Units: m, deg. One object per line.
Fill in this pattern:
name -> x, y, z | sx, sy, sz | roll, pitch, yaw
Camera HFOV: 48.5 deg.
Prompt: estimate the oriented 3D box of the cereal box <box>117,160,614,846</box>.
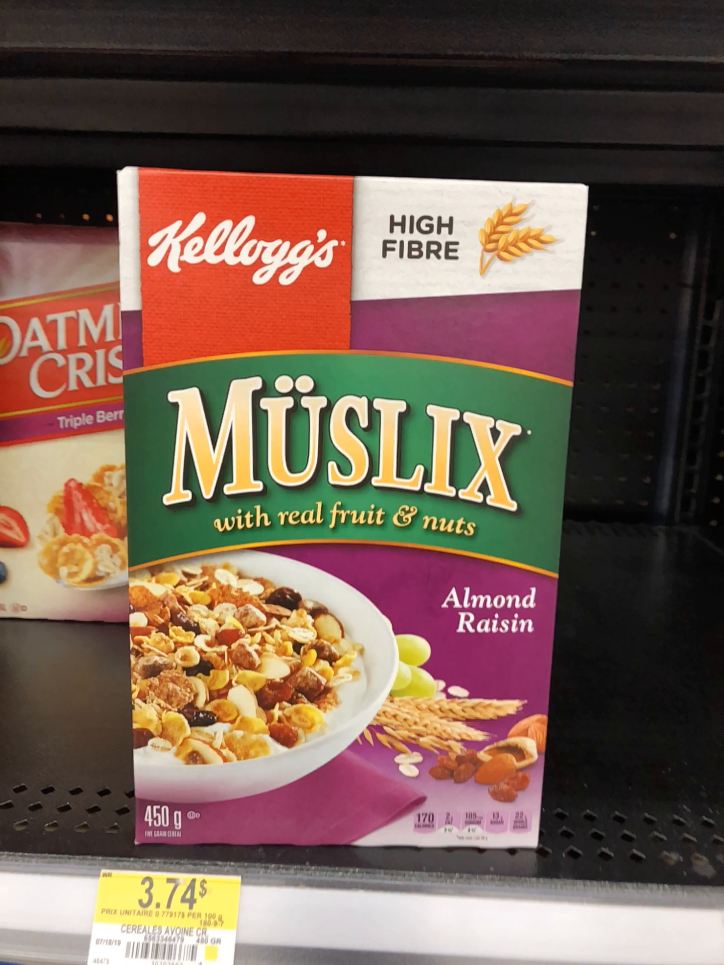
cereal box -> -0.003, 0.013, 0.330 | 0.170, 0.259, 0.060 | 2, 12, -2
